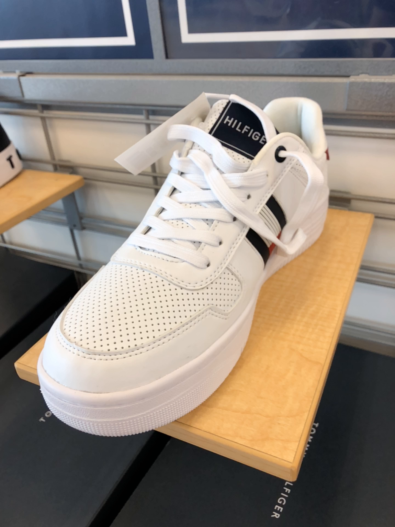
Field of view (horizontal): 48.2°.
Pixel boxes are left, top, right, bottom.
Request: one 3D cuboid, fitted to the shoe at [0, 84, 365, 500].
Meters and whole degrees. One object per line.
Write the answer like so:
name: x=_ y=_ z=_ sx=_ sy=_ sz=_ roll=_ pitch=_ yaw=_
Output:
shoe: x=0.010 y=-0.027 z=0.286 sx=0.107 sy=0.113 sz=0.282 roll=15 pitch=37 yaw=29
